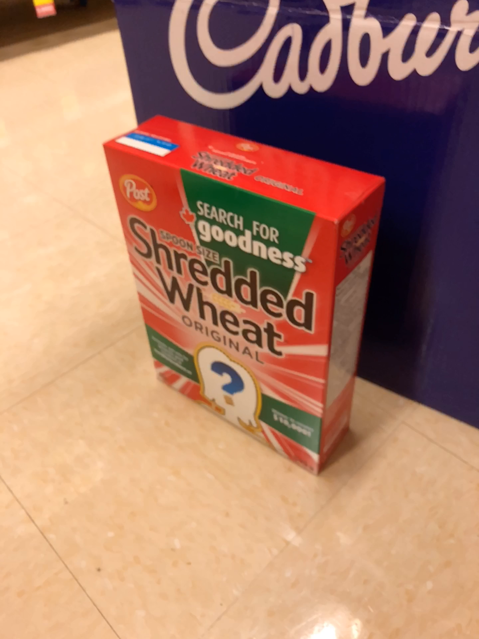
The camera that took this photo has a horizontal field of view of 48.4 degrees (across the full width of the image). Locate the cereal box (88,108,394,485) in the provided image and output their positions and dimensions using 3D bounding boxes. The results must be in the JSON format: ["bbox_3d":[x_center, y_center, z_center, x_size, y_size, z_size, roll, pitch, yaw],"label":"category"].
[{"bbox_3d":[0.000,-0.013,0.452,0.211,0.268,0.070,25,50,29],"label":"cereal box"}]
